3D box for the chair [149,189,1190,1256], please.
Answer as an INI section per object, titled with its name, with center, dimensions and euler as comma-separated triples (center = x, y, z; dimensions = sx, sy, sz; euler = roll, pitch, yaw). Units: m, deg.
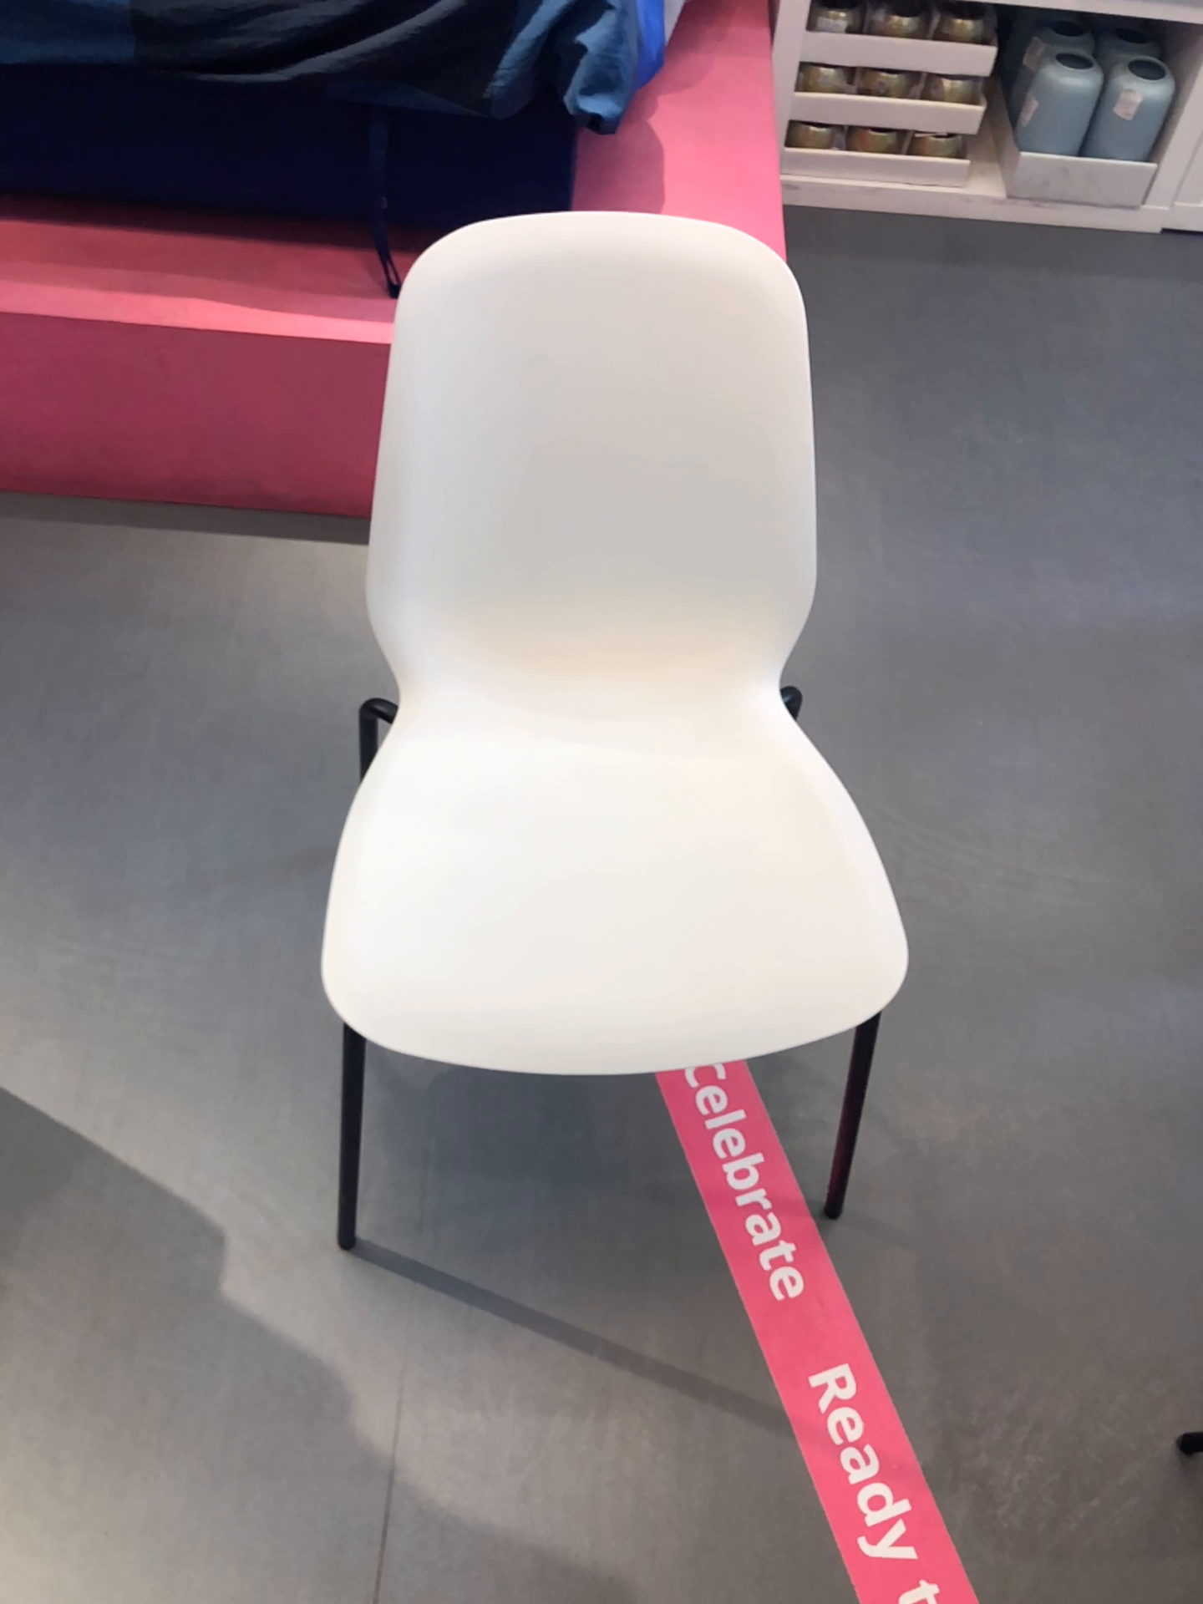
[chair]
center = -0.001, -0.005, 1.091
dimensions = 0.510, 0.756, 0.493
euler = -2, 55, -6
